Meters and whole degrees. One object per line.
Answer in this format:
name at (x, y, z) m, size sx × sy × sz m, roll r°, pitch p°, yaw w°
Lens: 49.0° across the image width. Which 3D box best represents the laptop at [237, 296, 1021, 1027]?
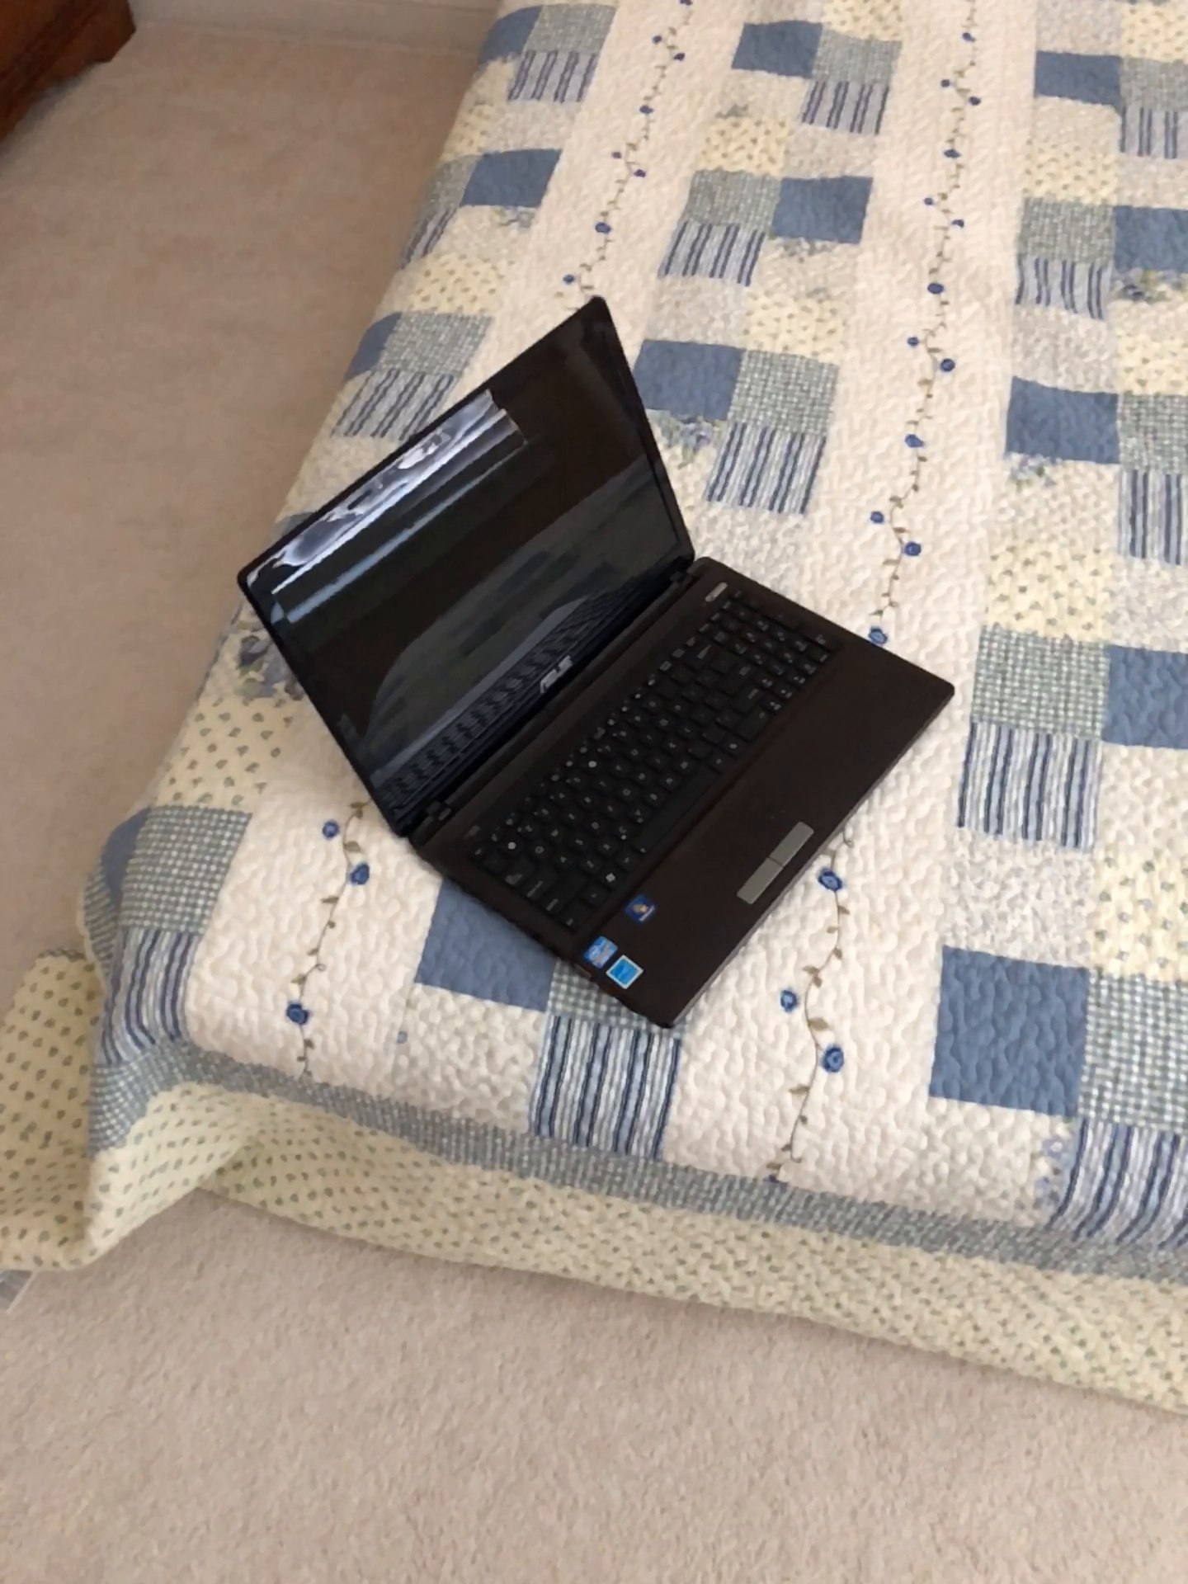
laptop at (0.028, -0.108, 0.907) m, size 0.350 × 0.193 × 0.358 m, roll 34°, pitch 63°, yaw 21°
